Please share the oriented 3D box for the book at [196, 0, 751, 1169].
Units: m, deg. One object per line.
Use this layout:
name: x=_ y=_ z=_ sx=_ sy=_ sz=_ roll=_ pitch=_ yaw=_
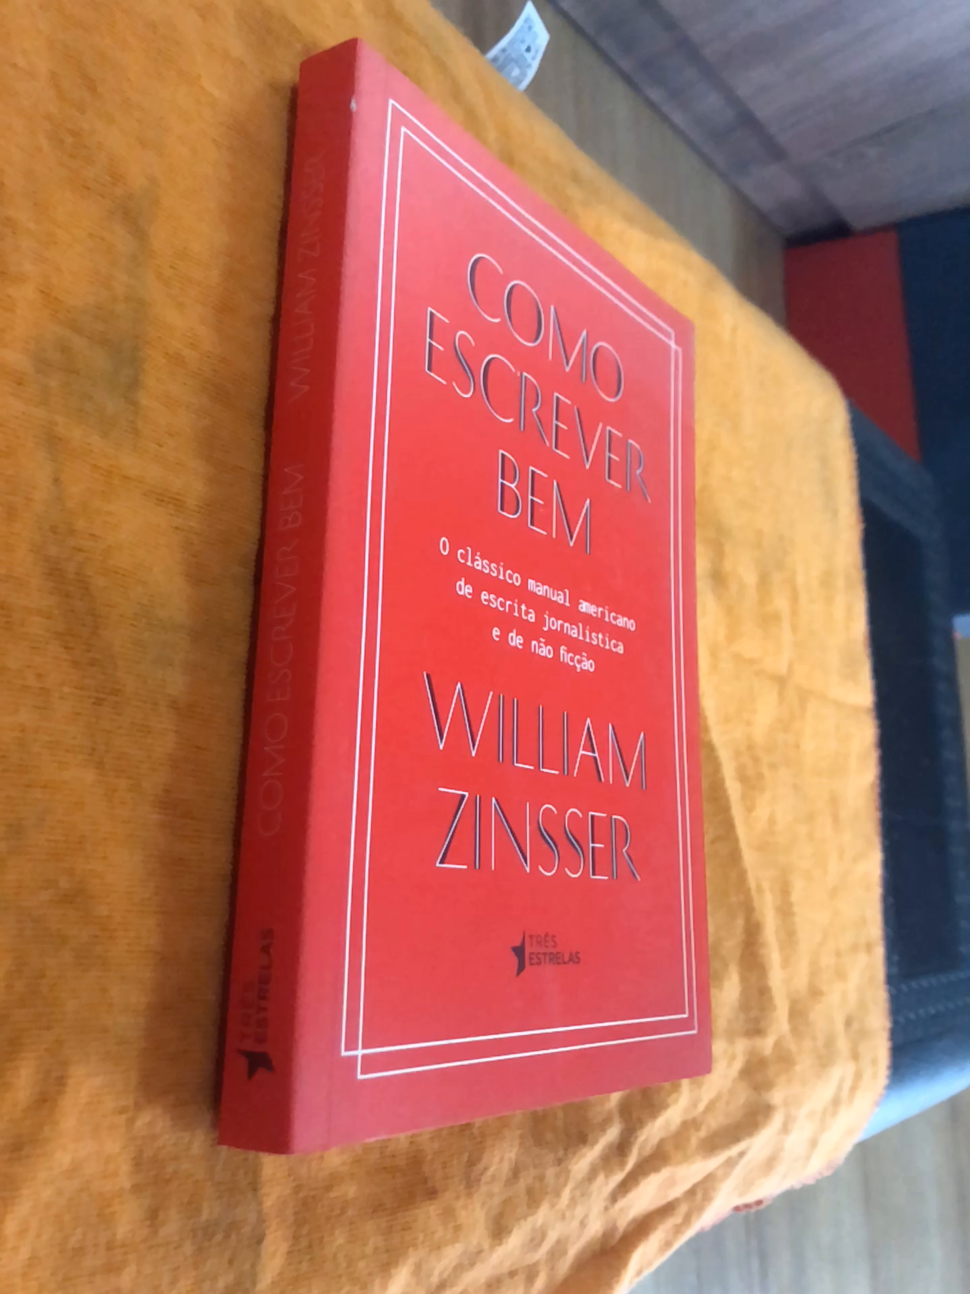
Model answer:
book: x=0.012 y=-0.008 z=0.232 sx=0.141 sy=0.020 sz=0.195 roll=17 pitch=69 yaw=-48
